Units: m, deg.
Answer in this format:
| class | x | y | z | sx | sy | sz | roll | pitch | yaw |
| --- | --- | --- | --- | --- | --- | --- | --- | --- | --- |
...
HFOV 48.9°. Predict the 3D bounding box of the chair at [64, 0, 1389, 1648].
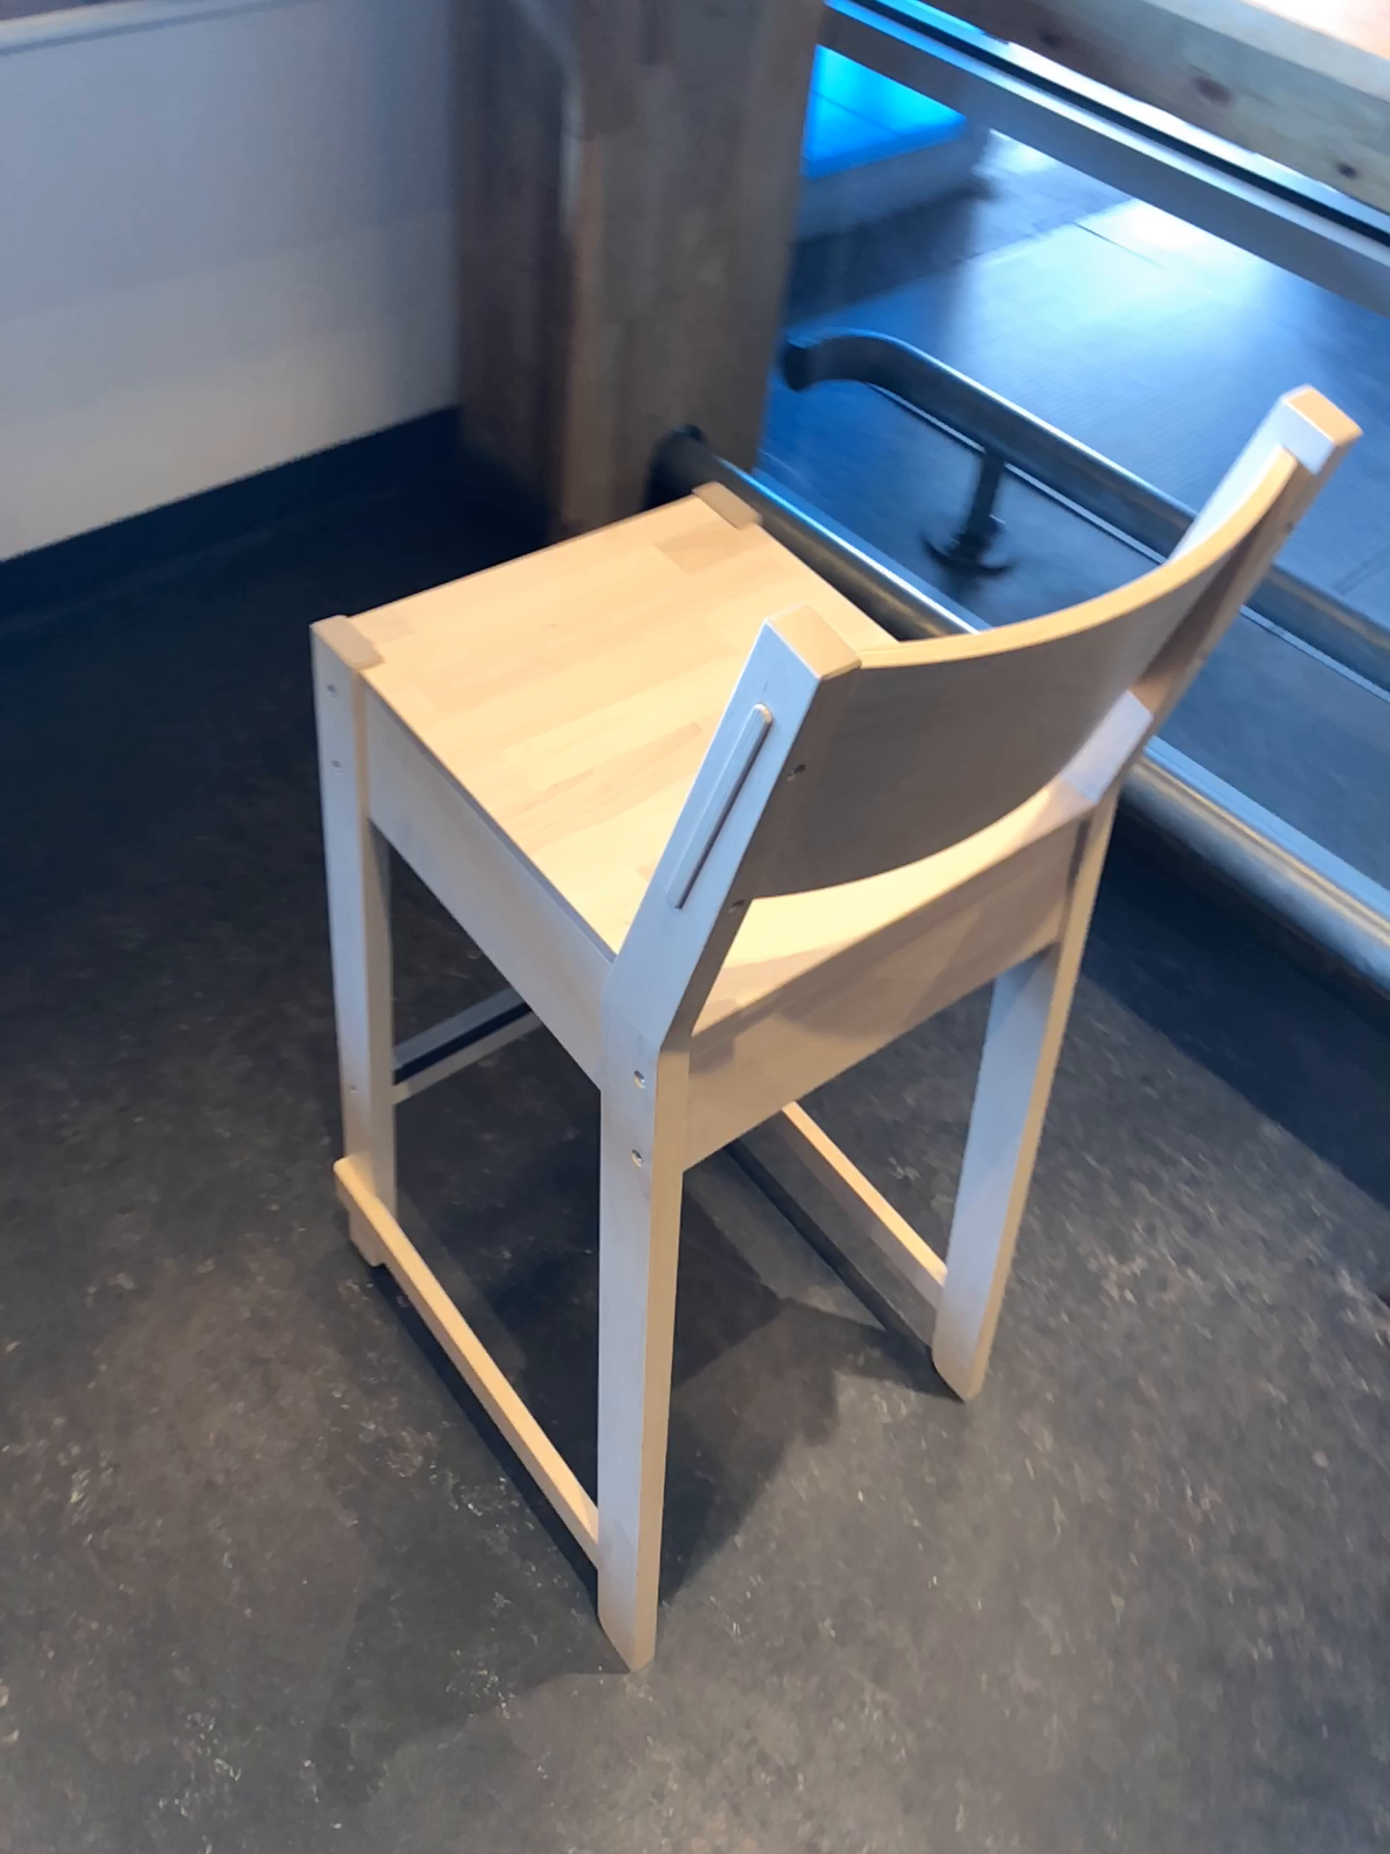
| class | x | y | z | sx | sy | sz | roll | pitch | yaw |
| --- | --- | --- | --- | --- | --- | --- | --- | --- | --- |
| chair | -0.012 | -0.018 | 1.089 | 0.461 | 0.977 | 0.541 | -28 | 58 | -29 |
